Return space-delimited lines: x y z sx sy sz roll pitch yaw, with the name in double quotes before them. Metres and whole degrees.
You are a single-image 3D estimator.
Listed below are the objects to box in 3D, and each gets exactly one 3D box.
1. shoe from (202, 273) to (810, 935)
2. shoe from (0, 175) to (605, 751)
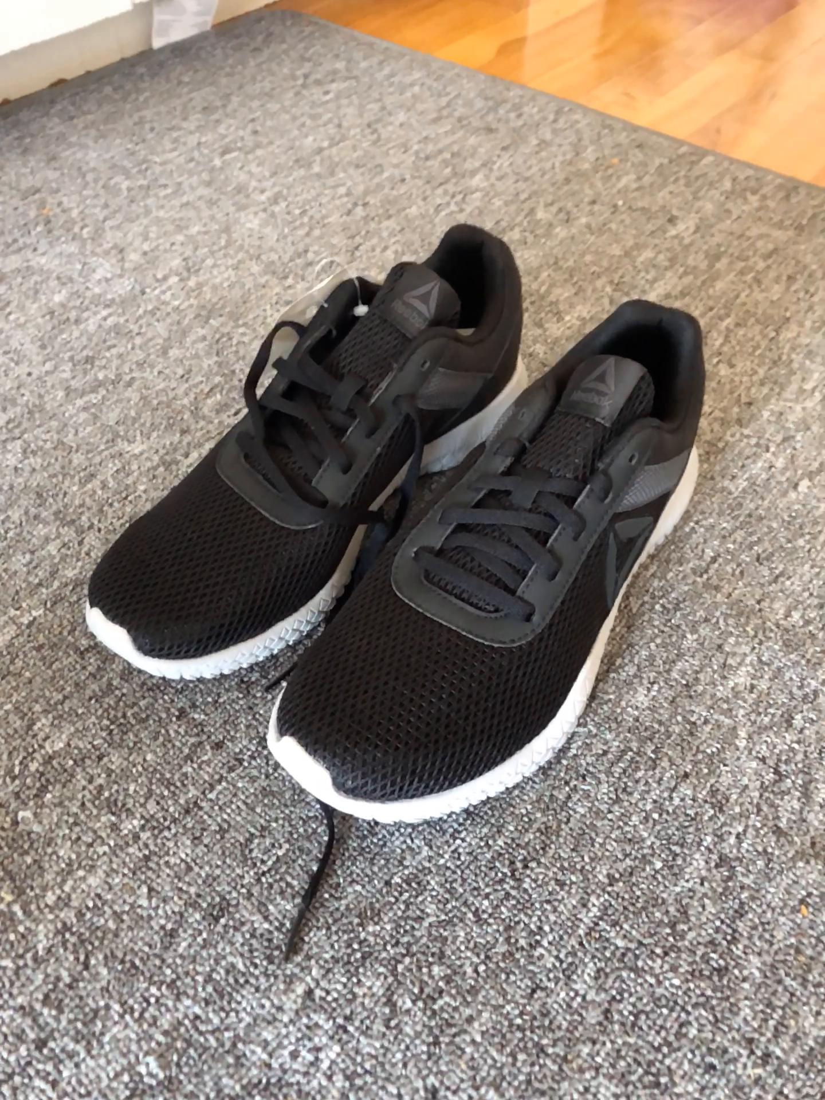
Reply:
"shoe" 0.058 0.000 0.415 0.110 0.099 0.302 29 53 22
"shoe" -0.040 -0.064 0.446 0.116 0.099 0.301 31 54 23
